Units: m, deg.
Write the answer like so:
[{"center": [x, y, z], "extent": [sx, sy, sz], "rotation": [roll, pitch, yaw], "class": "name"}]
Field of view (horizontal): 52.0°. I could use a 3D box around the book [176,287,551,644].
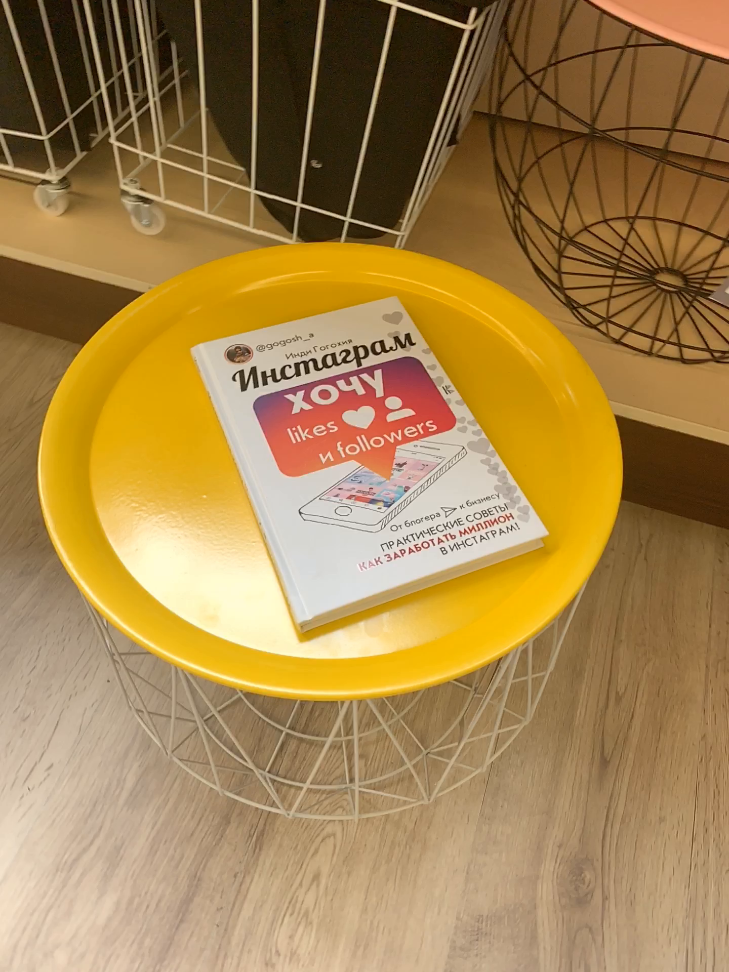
[{"center": [-0.012, -0.032, 0.503], "extent": [0.170, 0.020, 0.241], "rotation": [-18, 57, -14], "class": "book"}]
